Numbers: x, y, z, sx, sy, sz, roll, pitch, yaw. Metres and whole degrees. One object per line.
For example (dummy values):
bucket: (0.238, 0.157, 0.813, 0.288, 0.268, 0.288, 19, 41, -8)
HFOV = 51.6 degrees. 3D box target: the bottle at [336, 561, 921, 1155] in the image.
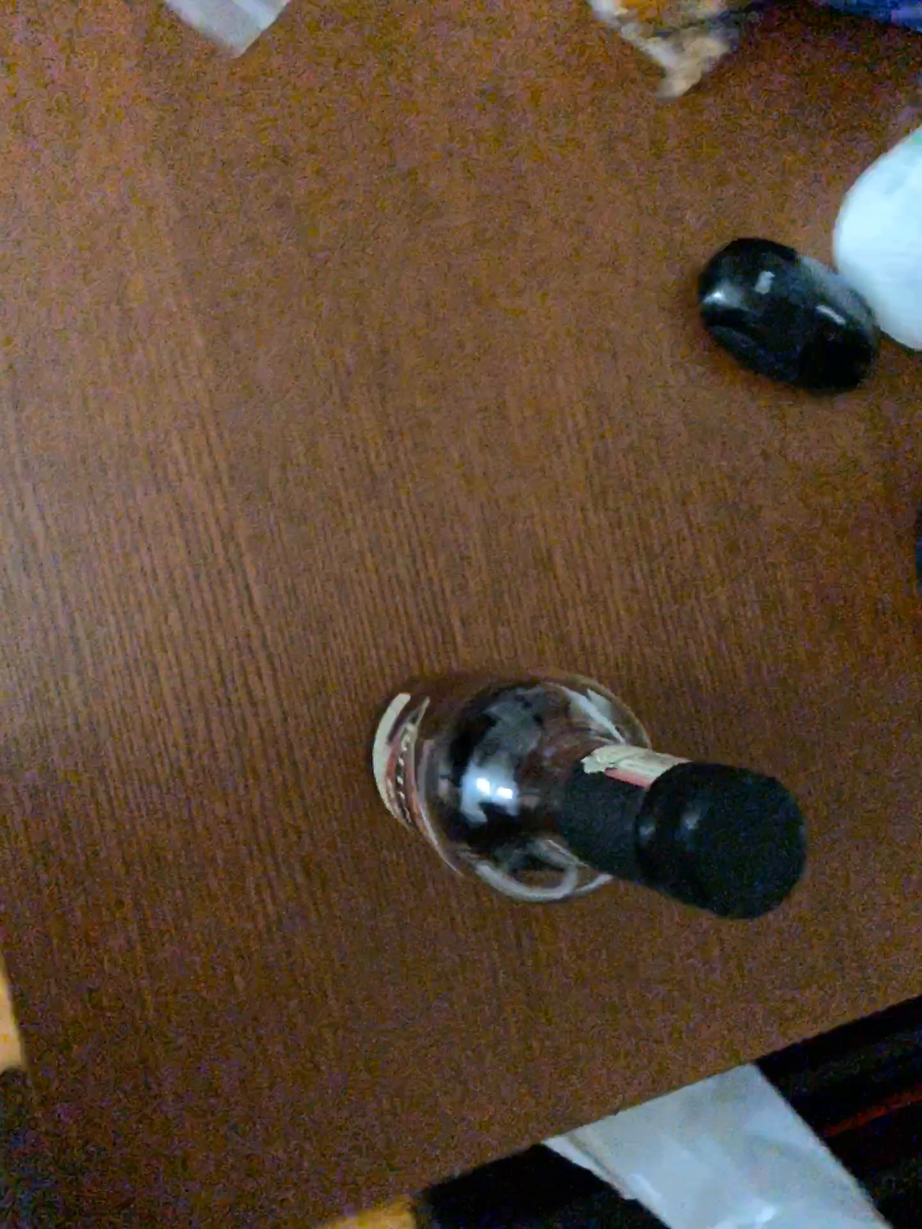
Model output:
bottle: (0.032, 0.056, 0.339, 0.090, 0.290, 0.090, 1, 87, -14)
